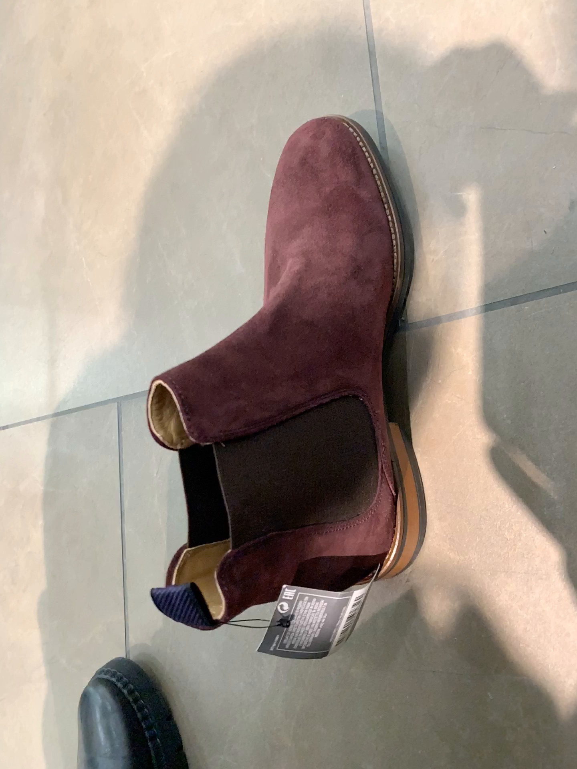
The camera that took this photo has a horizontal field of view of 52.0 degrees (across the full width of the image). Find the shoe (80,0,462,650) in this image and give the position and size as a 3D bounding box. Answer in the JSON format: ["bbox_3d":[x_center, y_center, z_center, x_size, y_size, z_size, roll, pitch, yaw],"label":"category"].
[{"bbox_3d":[-0.011,-0.031,0.341,0.114,0.161,0.298,-15,76,38],"label":"shoe"}]
